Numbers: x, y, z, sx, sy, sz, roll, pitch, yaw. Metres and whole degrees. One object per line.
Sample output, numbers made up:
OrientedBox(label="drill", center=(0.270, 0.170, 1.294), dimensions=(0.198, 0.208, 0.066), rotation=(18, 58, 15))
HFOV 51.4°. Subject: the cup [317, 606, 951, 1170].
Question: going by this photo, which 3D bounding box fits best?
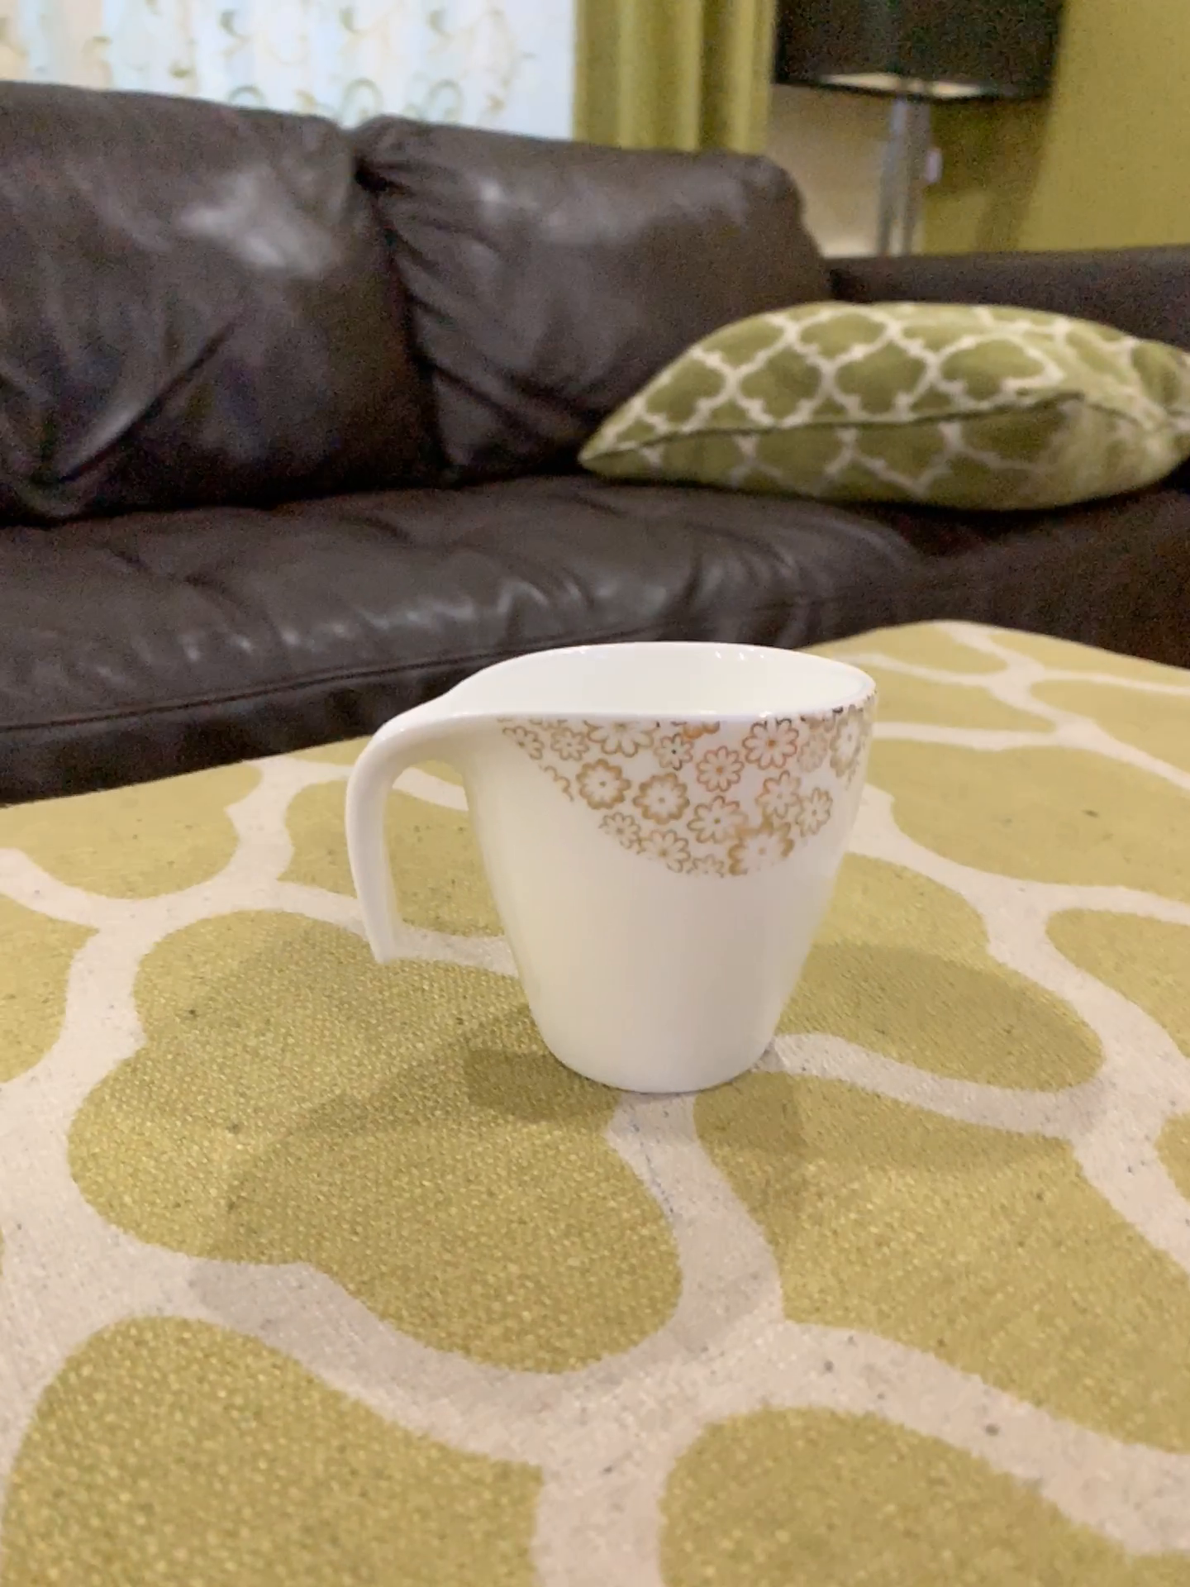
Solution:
OrientedBox(label="cup", center=(0.000, 0.011, 0.261), dimensions=(0.109, 0.079, 0.089), rotation=(-4, 21, -12))
